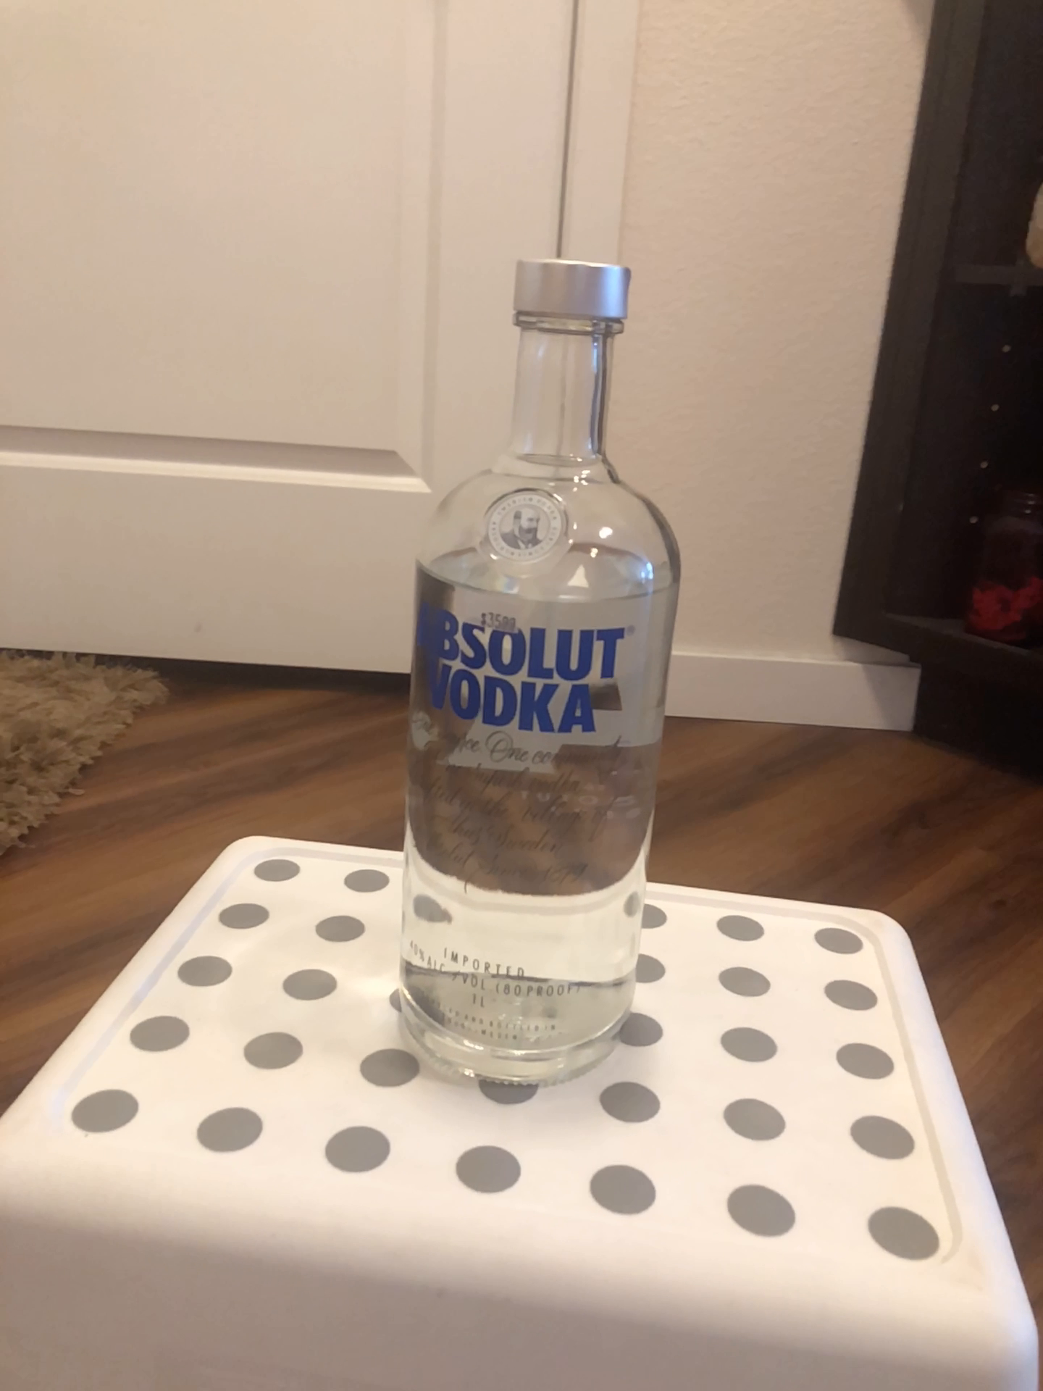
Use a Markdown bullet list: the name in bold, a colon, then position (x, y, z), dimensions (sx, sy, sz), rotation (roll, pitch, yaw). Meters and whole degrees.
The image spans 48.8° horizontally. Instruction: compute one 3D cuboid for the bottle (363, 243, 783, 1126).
- **bottle**: position (0.013, -0.008, 0.397), dimensions (0.090, 0.269, 0.100), rotation (14, 22, 27)
